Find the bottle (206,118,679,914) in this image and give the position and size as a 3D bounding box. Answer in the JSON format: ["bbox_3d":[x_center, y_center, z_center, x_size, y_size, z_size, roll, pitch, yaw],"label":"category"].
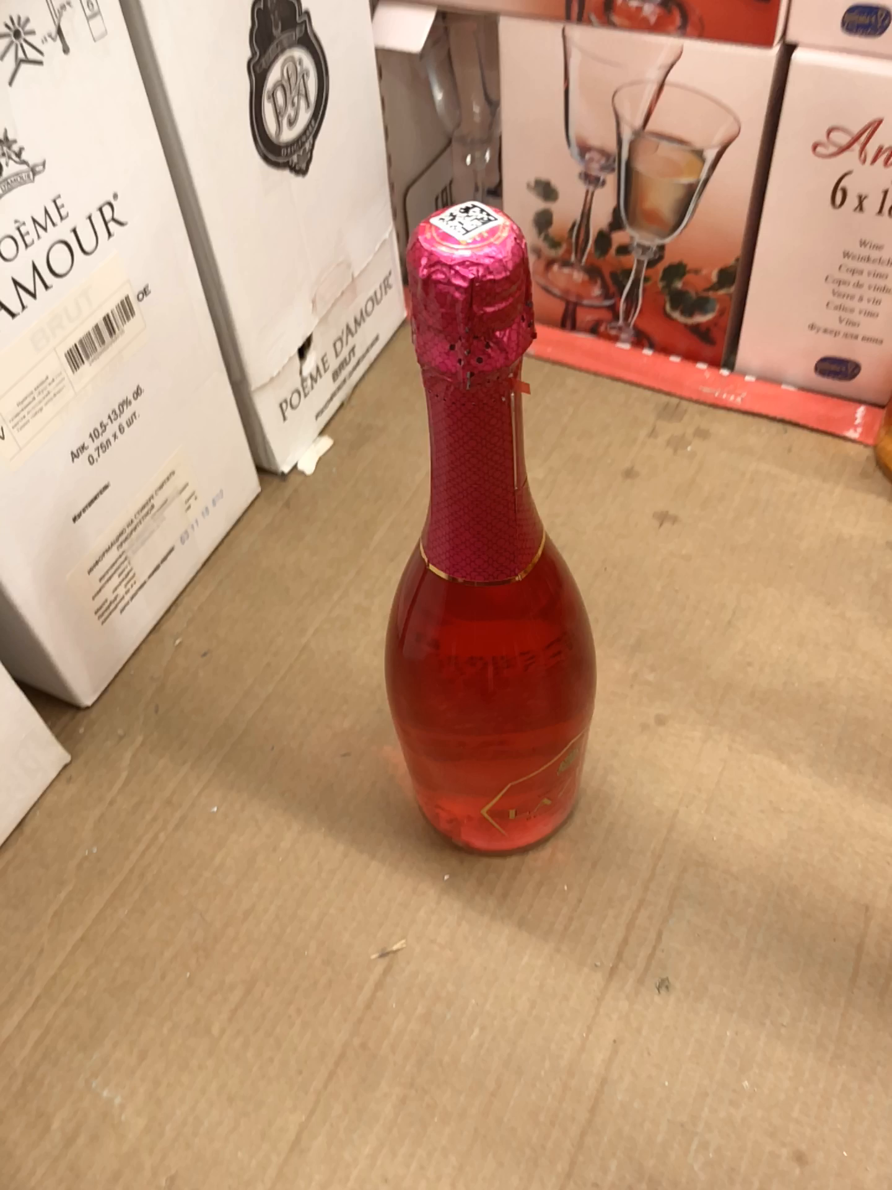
[{"bbox_3d":[0.009,0.003,0.389,0.090,0.320,0.090,-2,51,3],"label":"bottle"}]
